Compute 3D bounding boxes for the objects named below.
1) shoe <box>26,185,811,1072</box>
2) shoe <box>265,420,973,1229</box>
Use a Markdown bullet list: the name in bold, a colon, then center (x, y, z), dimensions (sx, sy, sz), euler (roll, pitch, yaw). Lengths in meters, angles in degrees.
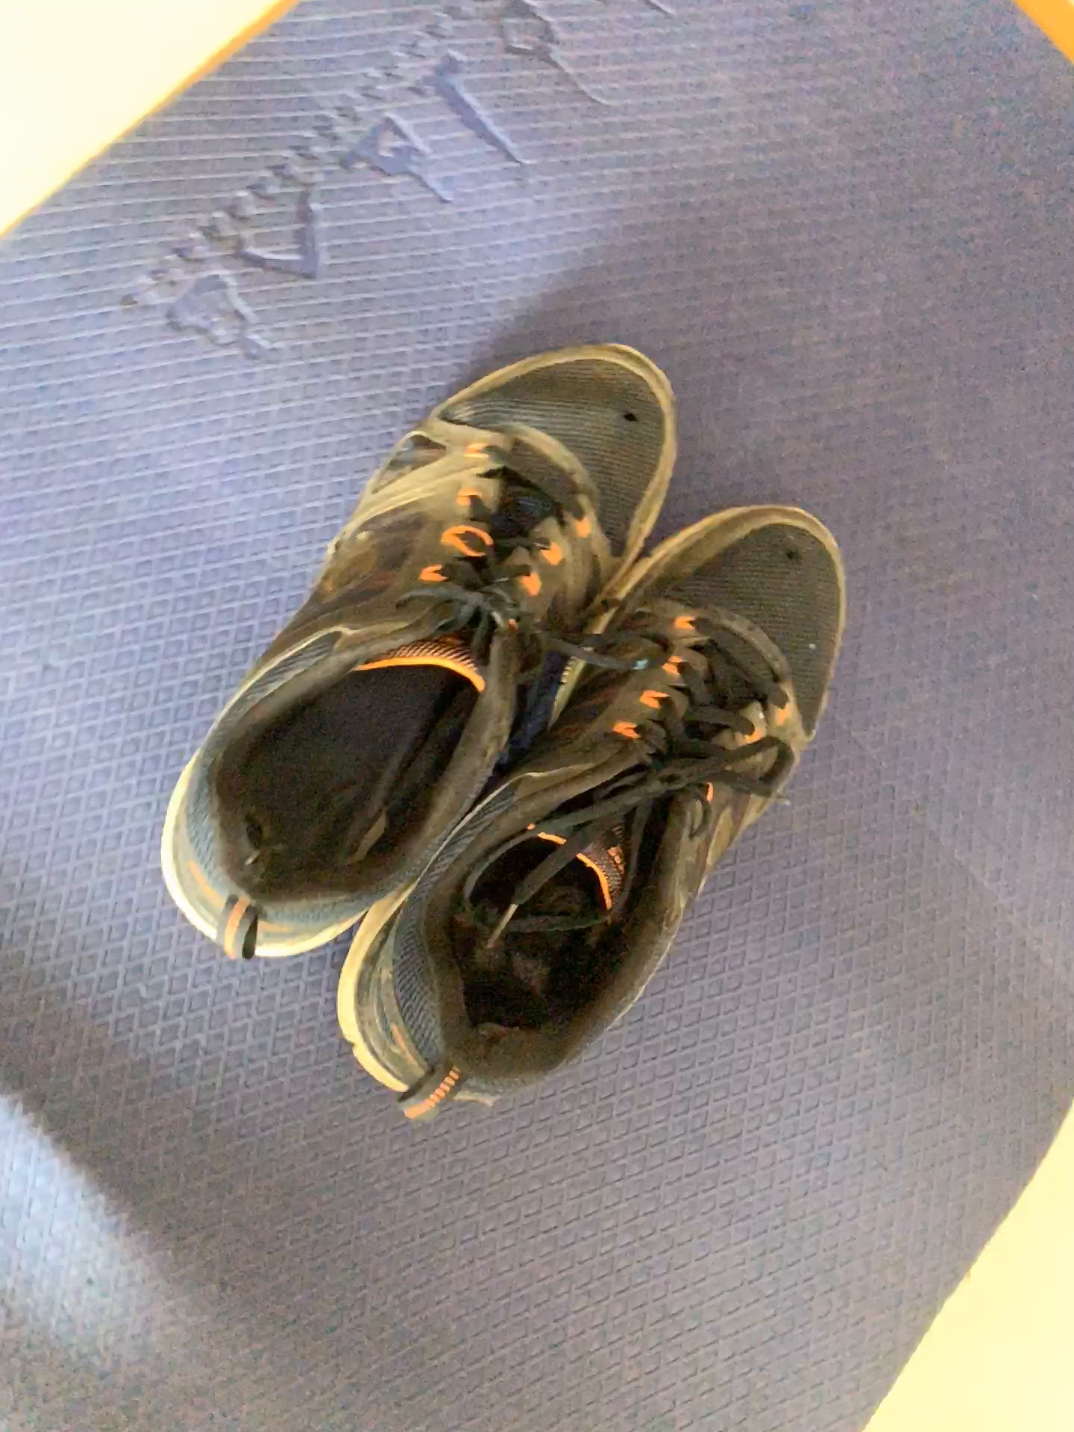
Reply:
- **shoe**: center (-0.039, -0.038, 0.430), dimensions (0.110, 0.100, 0.310), euler (39, 76, -11)
- **shoe**: center (0.035, 0.035, 0.470), dimensions (0.100, 0.100, 0.321), euler (41, 75, -3)
